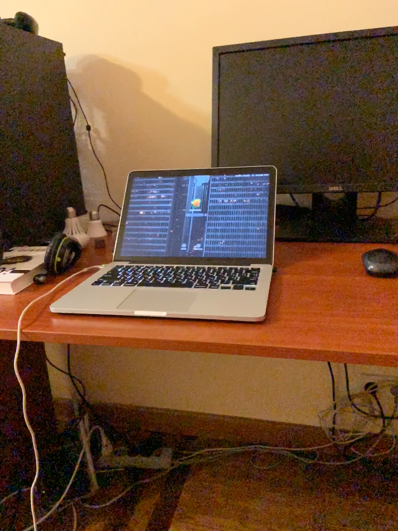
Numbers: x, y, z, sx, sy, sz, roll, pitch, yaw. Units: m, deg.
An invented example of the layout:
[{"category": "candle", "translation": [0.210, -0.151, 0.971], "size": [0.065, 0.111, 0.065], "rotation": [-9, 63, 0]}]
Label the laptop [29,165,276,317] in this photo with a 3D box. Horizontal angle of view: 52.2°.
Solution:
[{"category": "laptop", "translation": [-0.032, -0.066, 0.681], "size": [0.300, 0.155, 0.342], "rotation": [1, 19, 12]}]
